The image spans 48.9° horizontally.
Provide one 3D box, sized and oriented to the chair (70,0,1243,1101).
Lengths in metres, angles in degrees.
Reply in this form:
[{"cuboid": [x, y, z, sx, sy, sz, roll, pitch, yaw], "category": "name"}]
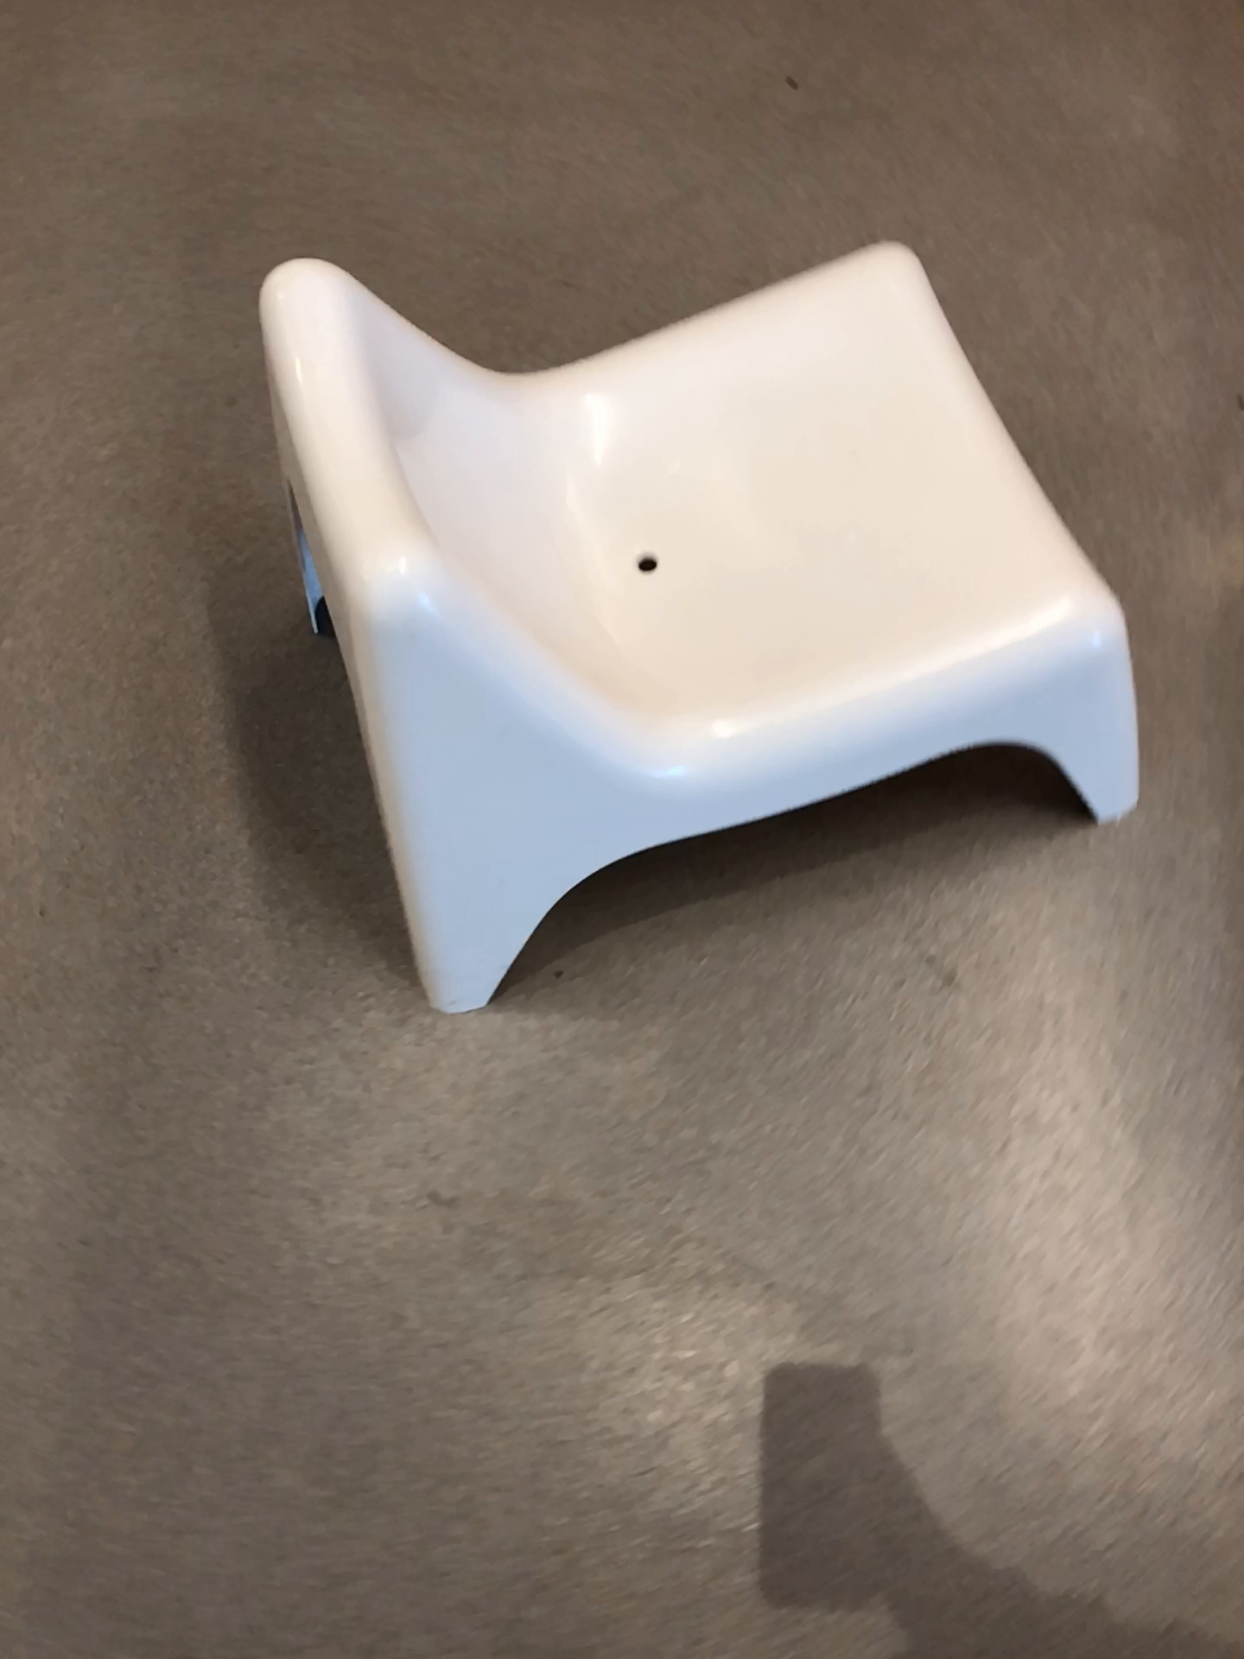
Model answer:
[{"cuboid": [0.065, -0.211, 1.018, 0.690, 0.400, 0.530, -22, 68, -3], "category": "chair"}]
